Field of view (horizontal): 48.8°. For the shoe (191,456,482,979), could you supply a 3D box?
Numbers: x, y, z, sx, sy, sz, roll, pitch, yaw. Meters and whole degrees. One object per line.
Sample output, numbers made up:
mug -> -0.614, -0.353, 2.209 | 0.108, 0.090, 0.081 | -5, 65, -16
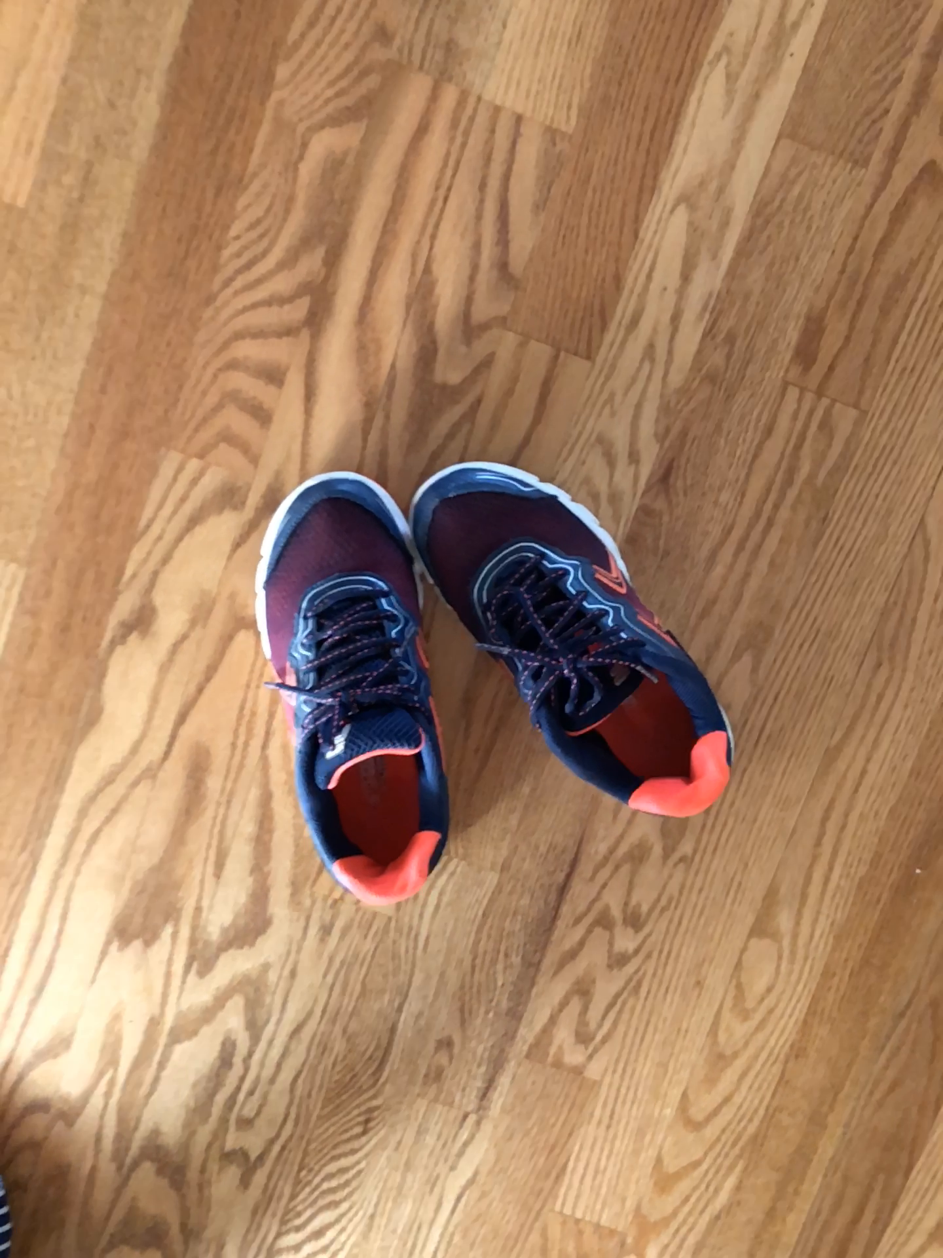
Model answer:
shoe -> -0.071, 0.044, 0.607 | 0.108, 0.110, 0.270 | -9, 98, -1

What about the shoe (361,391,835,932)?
shoe -> 0.069, 0.015, 0.607 | 0.116, 0.110, 0.277 | -36, 98, 3
